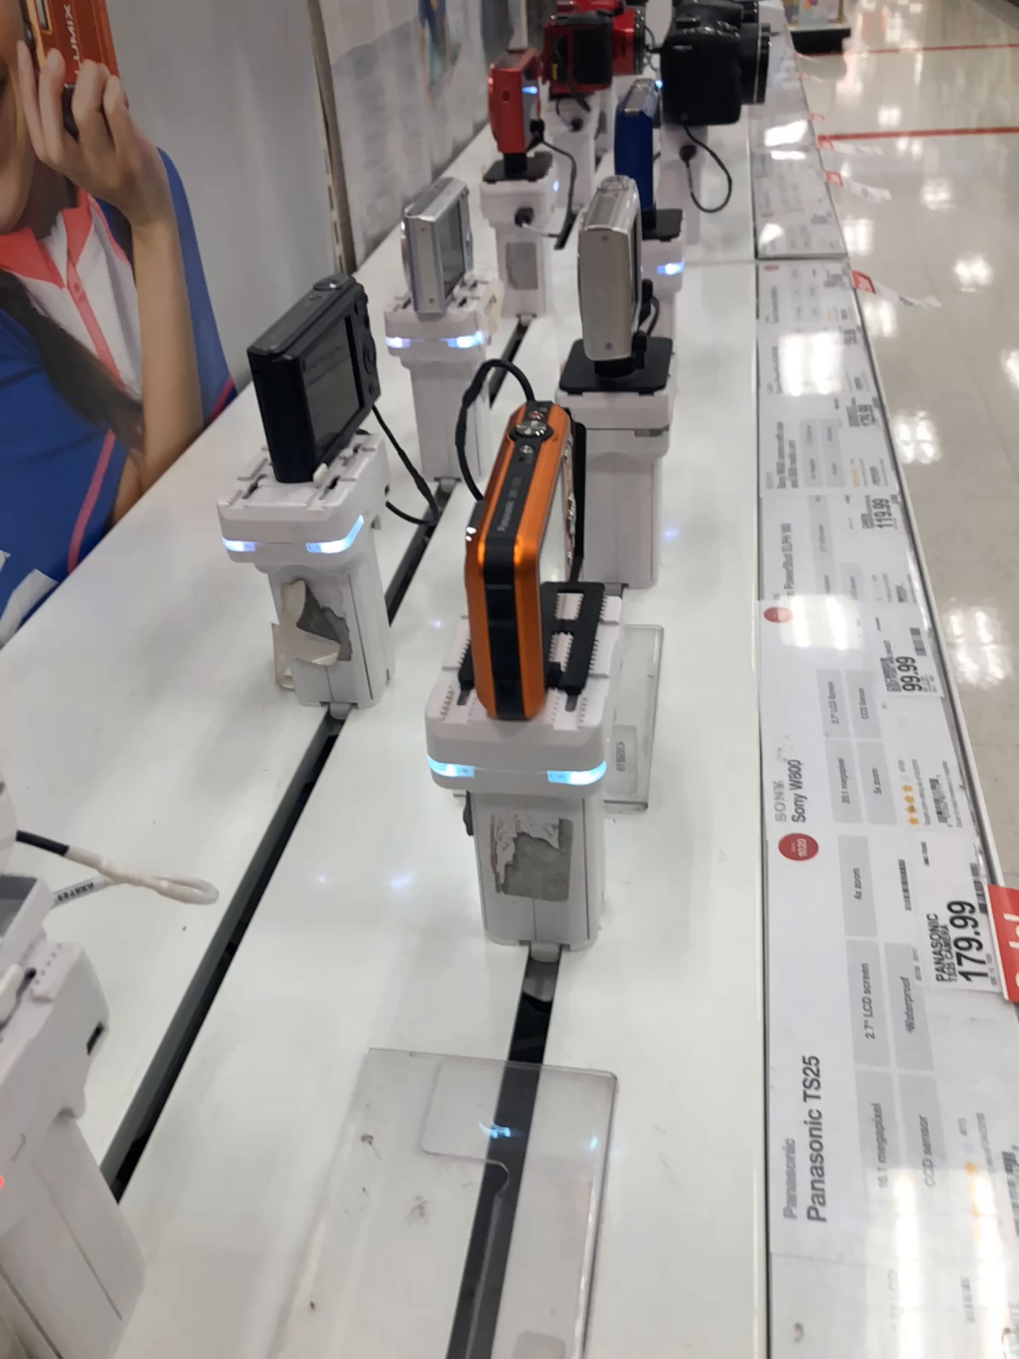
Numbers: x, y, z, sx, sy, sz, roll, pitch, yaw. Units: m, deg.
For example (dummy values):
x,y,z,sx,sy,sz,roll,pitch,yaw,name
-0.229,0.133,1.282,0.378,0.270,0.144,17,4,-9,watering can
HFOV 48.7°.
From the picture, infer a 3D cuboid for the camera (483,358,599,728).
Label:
x,y,z,sx,sy,sz,roll,pitch,yaw,name
0.013,-0.046,0.341,0.020,0.060,0.121,1,36,8,camera
